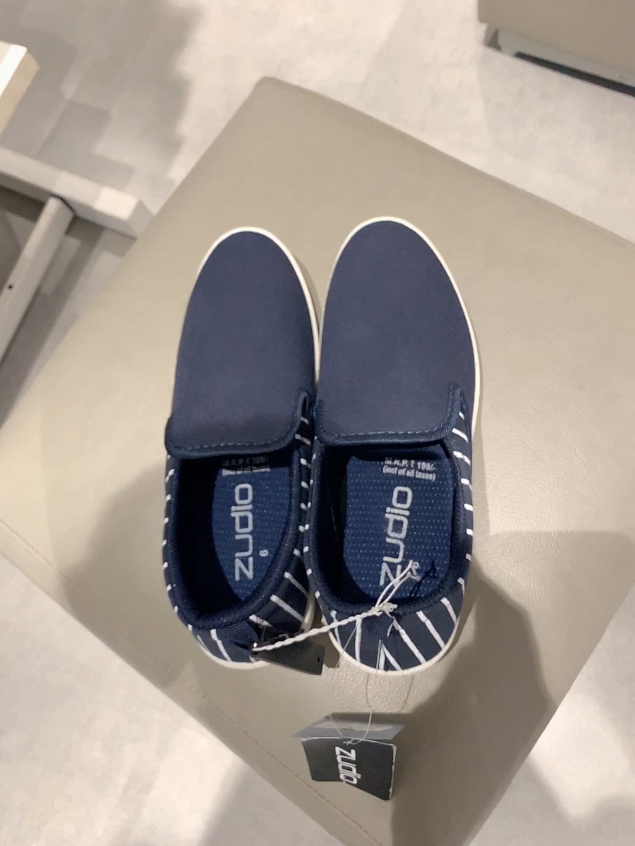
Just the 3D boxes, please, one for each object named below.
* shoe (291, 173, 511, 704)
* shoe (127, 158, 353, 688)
[{"bbox_3d":[0.048,0.006,0.377,0.100,0.090,0.270,-1,76,10],"label":"shoe"},{"bbox_3d":[-0.045,-0.001,0.391,0.100,0.090,0.280,-6,75,9],"label":"shoe"}]
